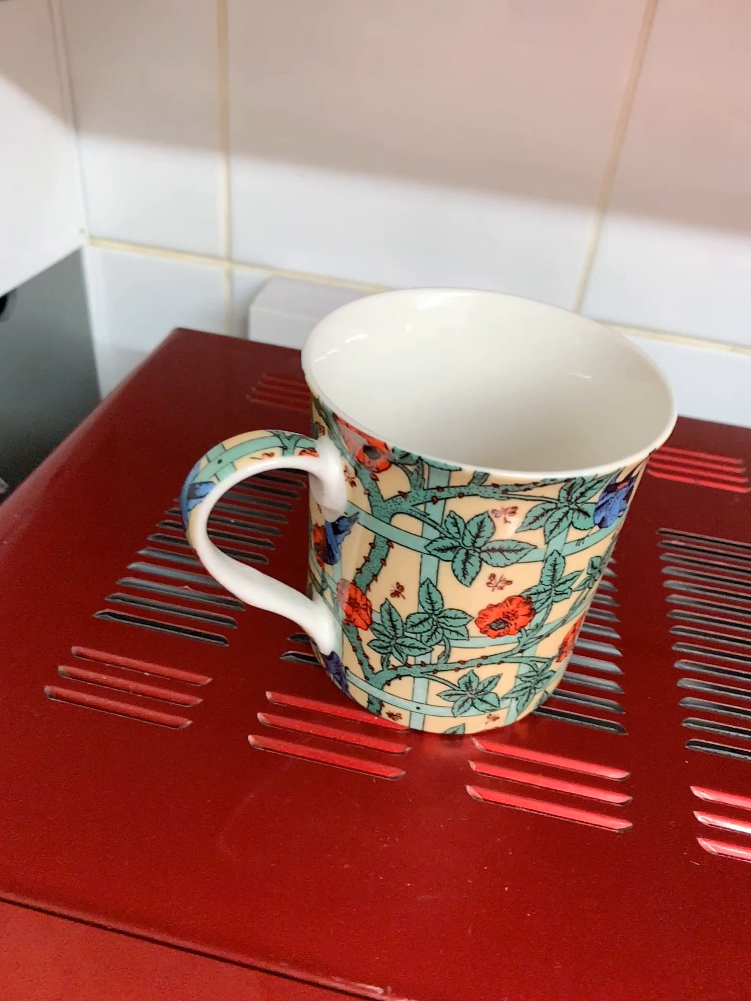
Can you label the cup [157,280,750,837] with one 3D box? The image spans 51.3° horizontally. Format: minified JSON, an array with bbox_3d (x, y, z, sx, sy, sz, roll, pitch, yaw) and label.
[{"bbox_3d":[0.014,0.005,0.182,0.110,0.079,0.081,-8,39,-18],"label":"cup"}]
